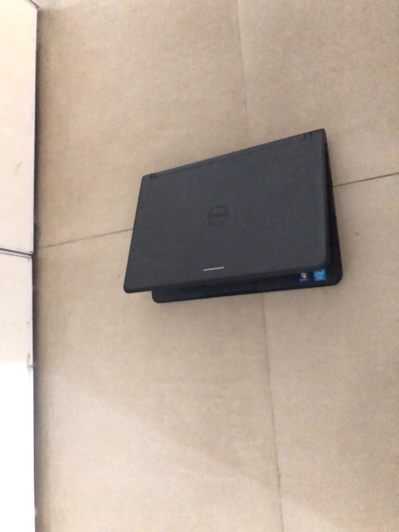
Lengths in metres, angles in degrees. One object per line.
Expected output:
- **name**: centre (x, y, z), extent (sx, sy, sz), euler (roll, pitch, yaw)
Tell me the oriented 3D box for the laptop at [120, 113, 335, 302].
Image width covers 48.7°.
- **laptop**: centre (0.029, -0.071, 0.680), extent (0.315, 0.064, 0.220), euler (-8, 84, 28)
